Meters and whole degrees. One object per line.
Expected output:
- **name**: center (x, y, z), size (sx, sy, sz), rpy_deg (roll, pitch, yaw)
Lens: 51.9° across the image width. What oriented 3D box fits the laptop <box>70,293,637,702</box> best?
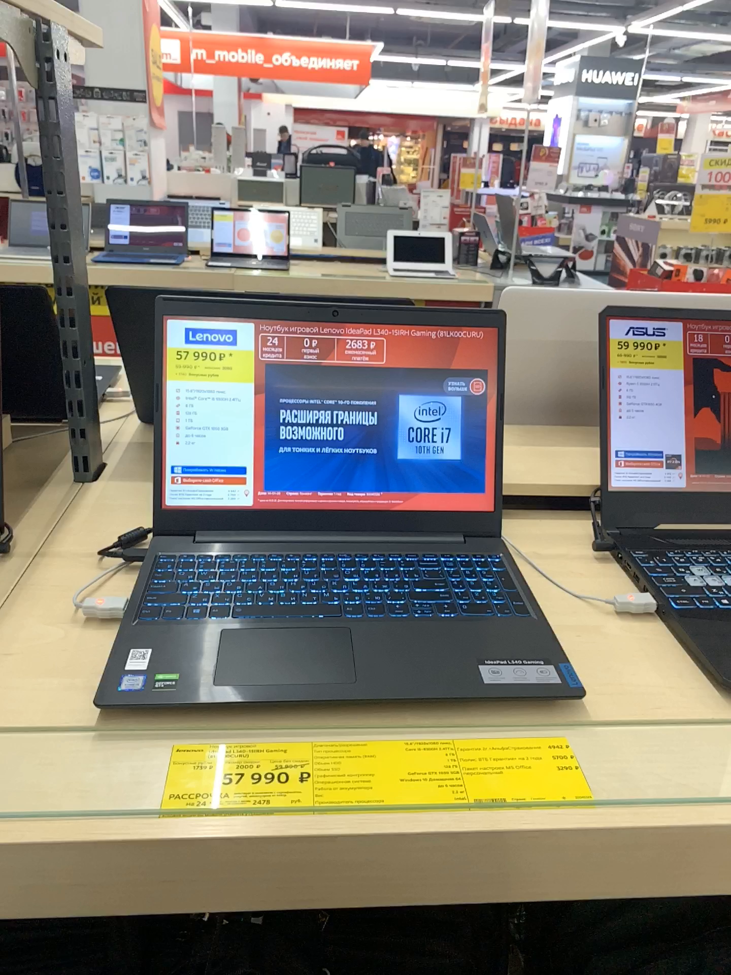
- **laptop**: center (-0.022, -0.021, 0.671), size (0.357, 0.223, 0.349), rpy_deg (1, 24, -6)
